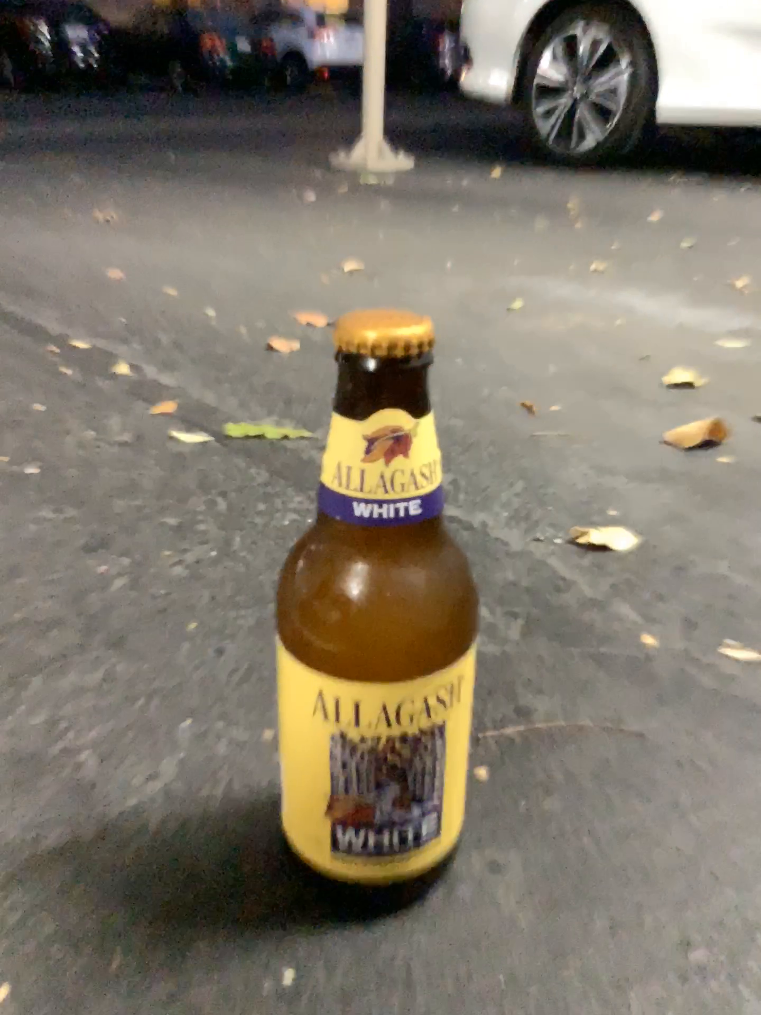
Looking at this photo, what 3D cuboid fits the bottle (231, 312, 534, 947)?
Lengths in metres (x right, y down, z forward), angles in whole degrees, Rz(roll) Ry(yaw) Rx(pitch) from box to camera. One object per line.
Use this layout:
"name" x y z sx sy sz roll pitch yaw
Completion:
"bottle" -0.007 0.042 0.271 0.070 0.190 0.070 2 27 -1
